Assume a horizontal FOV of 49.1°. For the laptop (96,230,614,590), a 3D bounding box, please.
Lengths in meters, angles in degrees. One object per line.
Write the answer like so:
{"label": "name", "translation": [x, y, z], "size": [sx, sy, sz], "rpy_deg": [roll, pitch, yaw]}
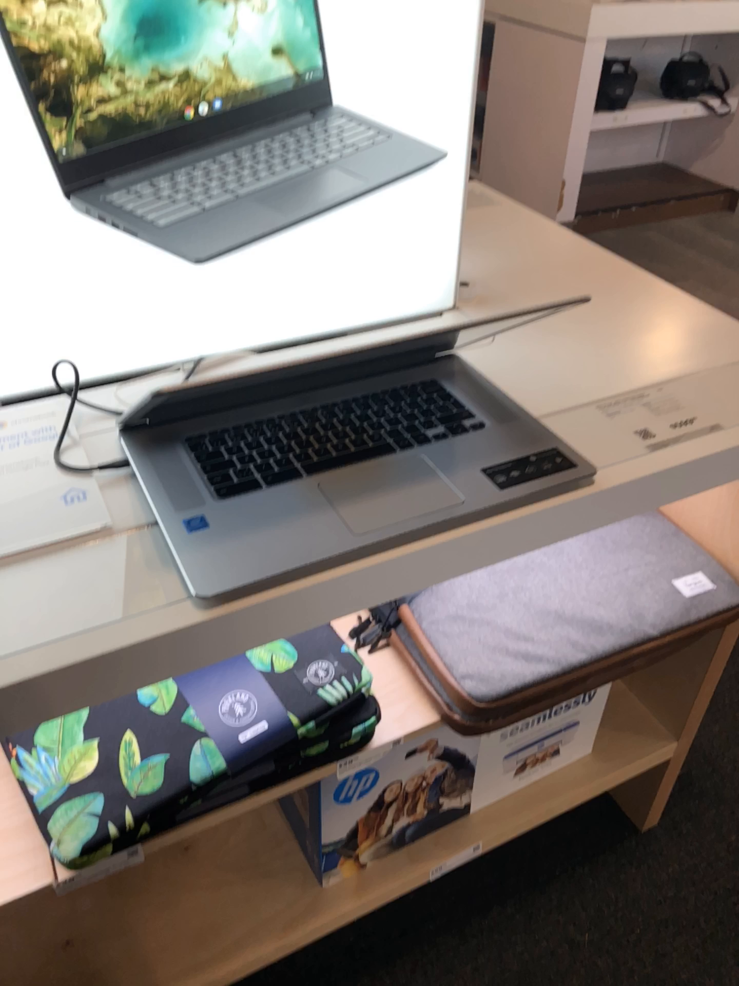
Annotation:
{"label": "laptop", "translation": [-0.015, -0.097, 0.708], "size": [0.365, 0.146, 0.231], "rpy_deg": [-16, 42, -25]}
